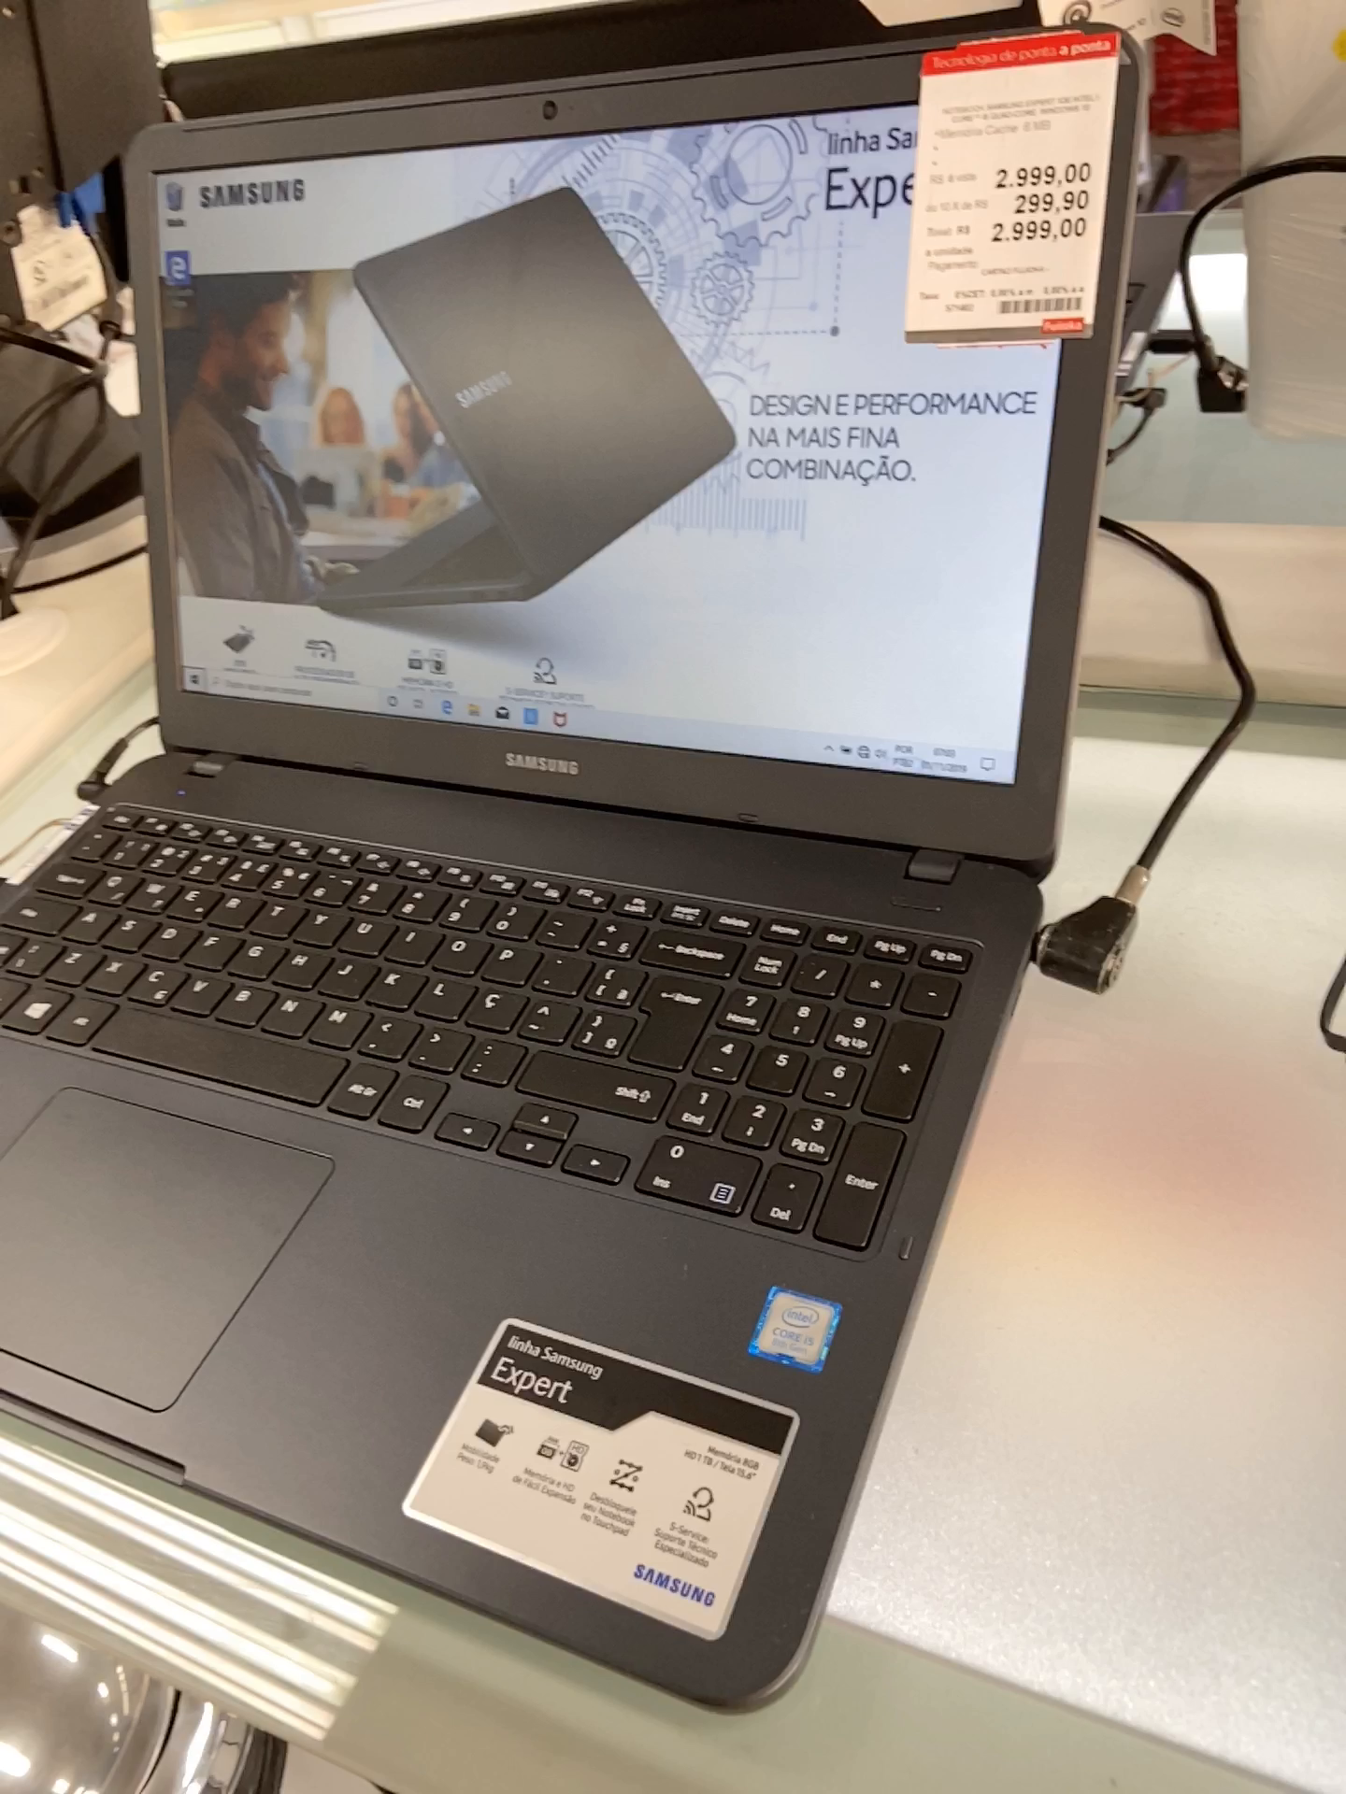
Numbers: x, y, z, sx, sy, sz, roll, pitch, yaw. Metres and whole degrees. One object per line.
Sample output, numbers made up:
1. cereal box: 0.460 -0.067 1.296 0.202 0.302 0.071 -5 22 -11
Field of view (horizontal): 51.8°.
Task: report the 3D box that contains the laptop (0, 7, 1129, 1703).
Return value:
1. laptop: -0.096 -0.064 0.402 0.371 0.200 0.370 8 47 25
